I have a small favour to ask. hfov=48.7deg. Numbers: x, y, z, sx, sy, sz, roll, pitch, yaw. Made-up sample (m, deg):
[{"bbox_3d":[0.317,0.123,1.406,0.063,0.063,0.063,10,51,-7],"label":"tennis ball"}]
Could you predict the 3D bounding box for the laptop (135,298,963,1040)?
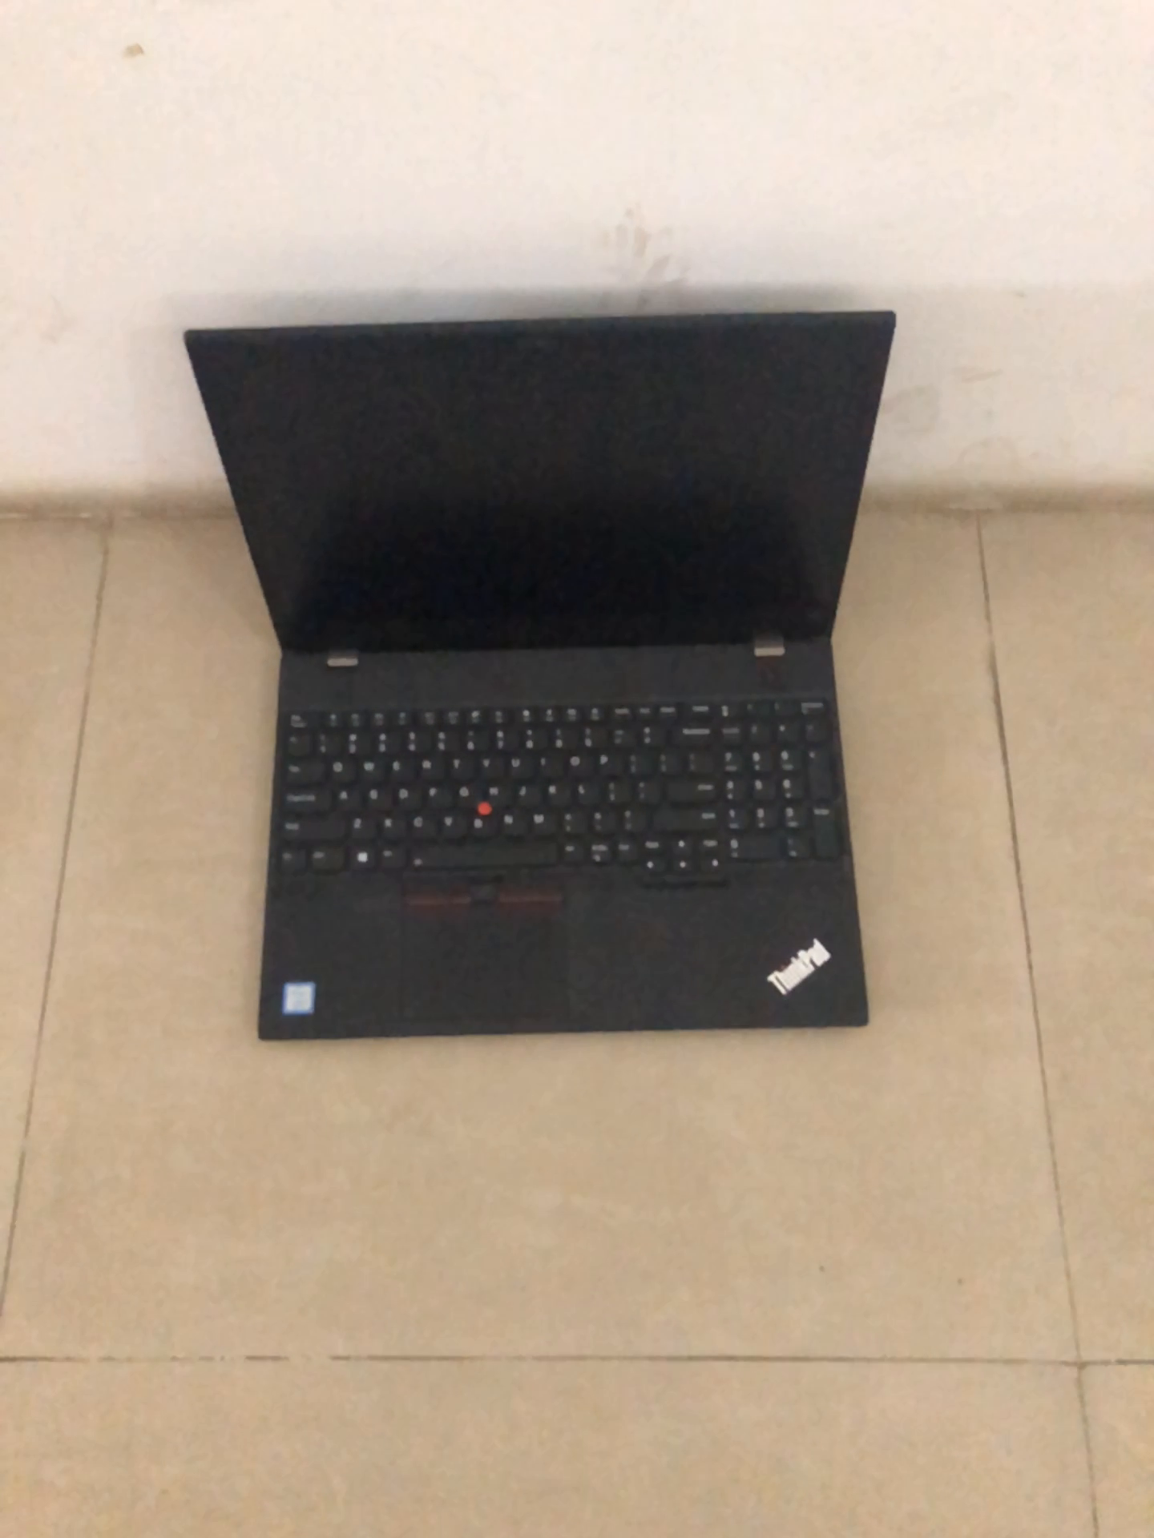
[{"bbox_3d":[-0.015,-0.038,0.690,0.351,0.215,0.328,-2,72,0],"label":"laptop"}]
